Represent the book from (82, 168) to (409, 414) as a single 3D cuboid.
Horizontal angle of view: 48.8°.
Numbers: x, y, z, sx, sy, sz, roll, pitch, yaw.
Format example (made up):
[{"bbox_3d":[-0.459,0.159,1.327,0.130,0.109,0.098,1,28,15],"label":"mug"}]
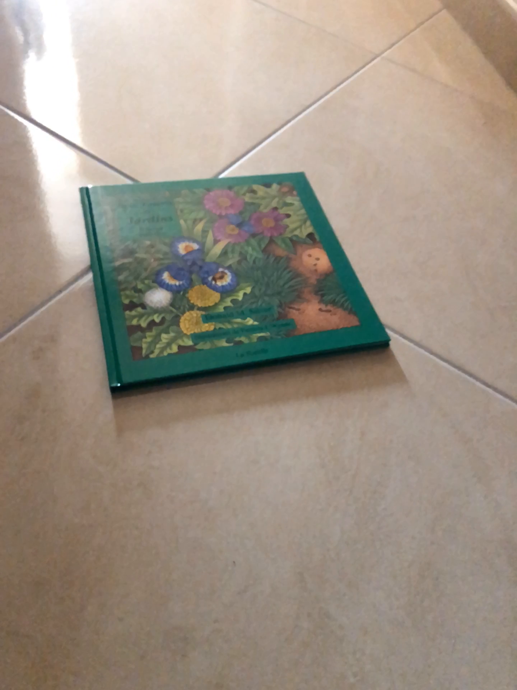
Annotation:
[{"bbox_3d":[-0.024,-0.069,0.524,0.241,0.030,0.241,-9,54,-15],"label":"book"}]
